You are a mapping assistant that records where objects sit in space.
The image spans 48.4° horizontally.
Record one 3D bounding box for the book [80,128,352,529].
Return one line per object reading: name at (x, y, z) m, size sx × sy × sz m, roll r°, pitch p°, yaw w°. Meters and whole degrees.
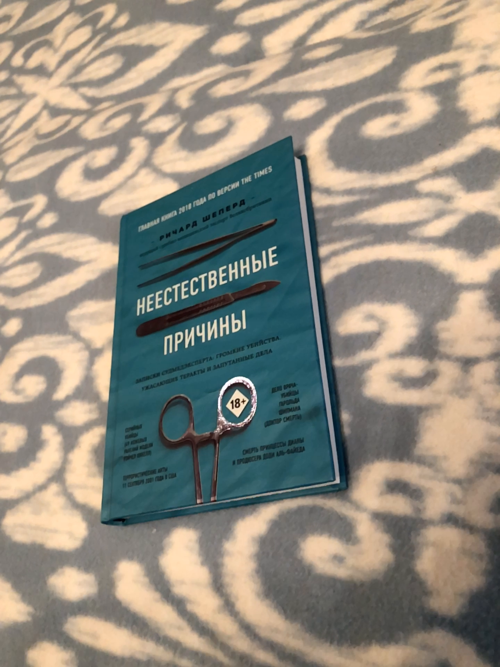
book at (-0.029, -0.007, 0.336) m, size 0.149 × 0.025 × 0.218 m, roll -17°, pitch 59°, yaw 24°
